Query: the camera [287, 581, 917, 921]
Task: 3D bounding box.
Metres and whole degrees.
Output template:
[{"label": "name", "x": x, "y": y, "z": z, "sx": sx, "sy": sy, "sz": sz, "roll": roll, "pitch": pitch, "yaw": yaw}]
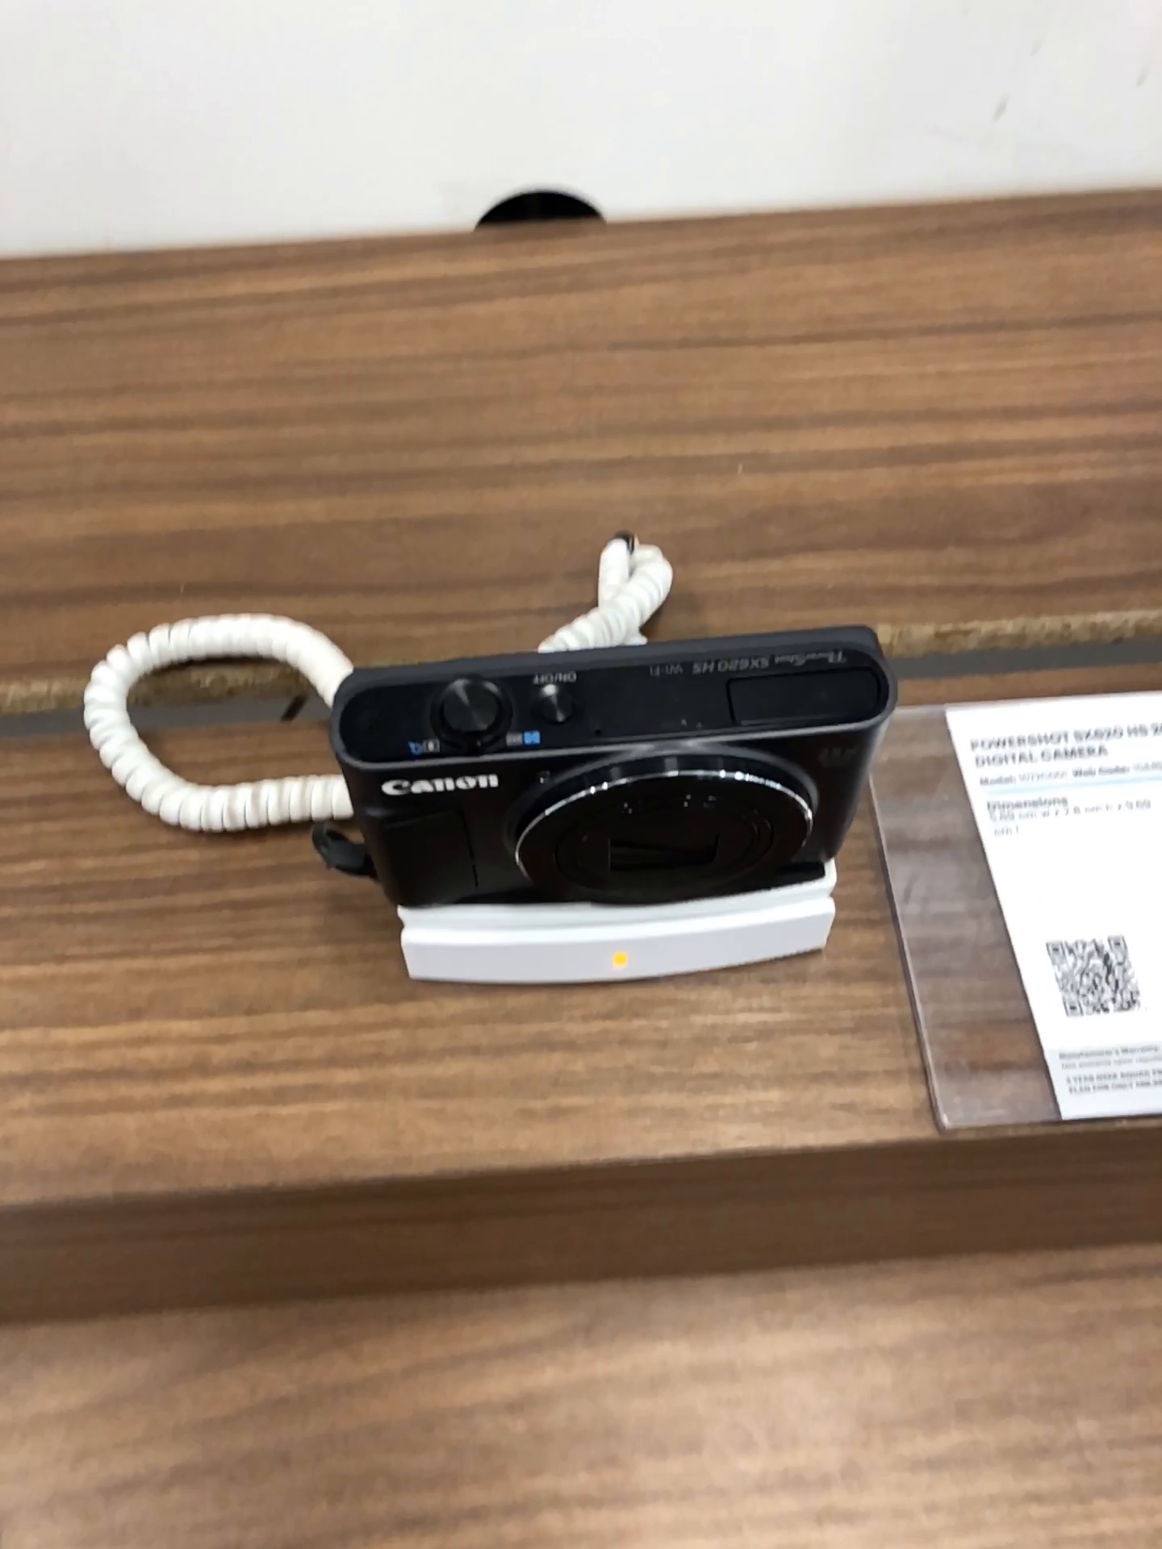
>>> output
[{"label": "camera", "x": 0.003, "y": -0.002, "z": 0.239, "sx": 0.100, "sy": 0.060, "sz": 0.030, "roll": -3, "pitch": 58, "yaw": -1}]
